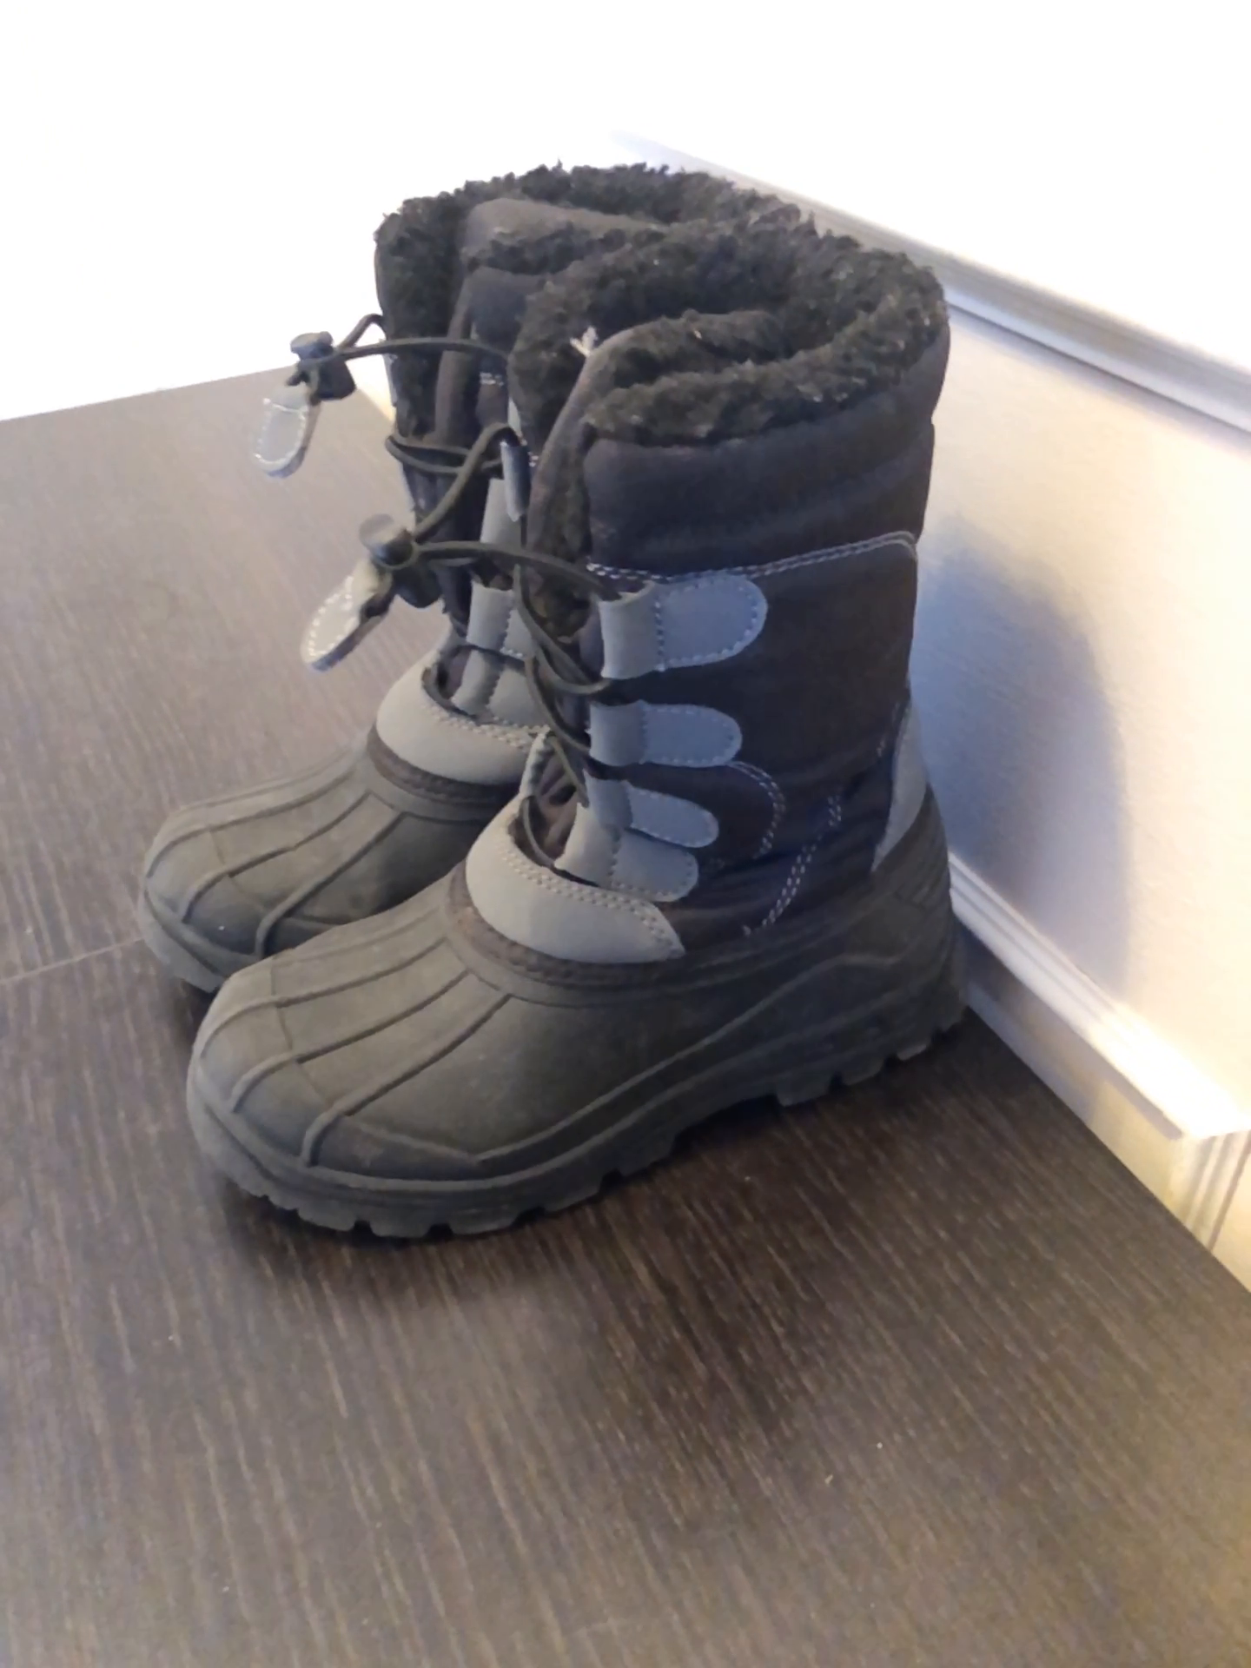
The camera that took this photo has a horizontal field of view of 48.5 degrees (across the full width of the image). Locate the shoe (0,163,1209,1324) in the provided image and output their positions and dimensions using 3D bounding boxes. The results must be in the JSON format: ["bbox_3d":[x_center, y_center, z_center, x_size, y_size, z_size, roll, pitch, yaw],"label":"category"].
[{"bbox_3d":[-0.007,-0.025,0.331,0.220,0.209,0.101,-16,40,-18],"label":"shoe"}]

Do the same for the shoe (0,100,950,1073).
[{"bbox_3d":[-0.043,-0.073,0.393,0.220,0.209,0.101,-16,40,-18],"label":"shoe"}]
